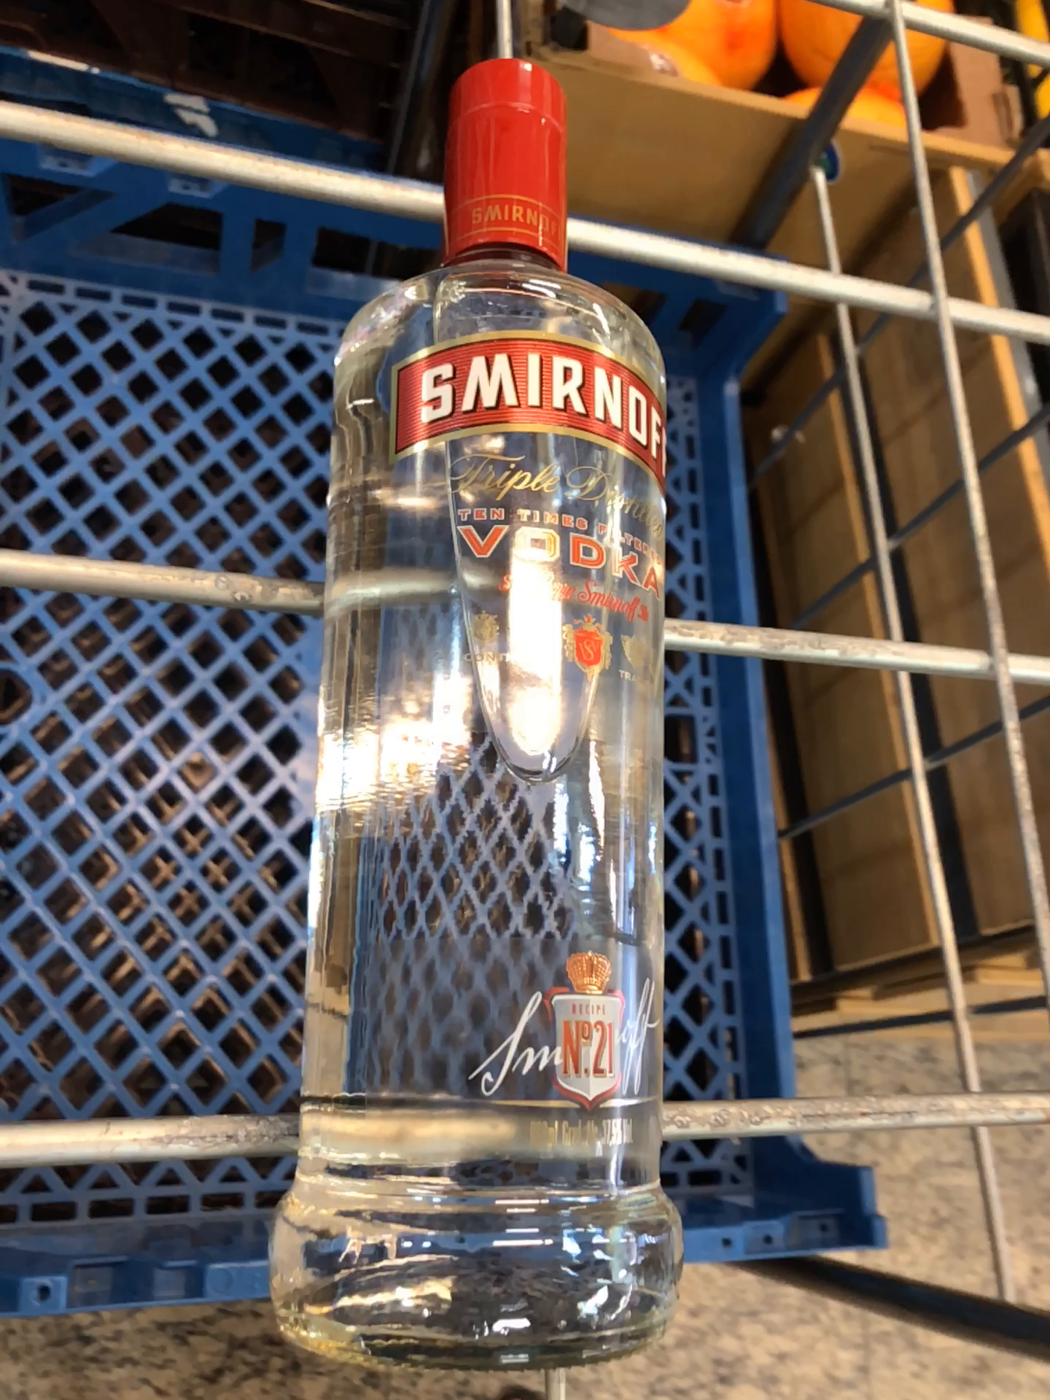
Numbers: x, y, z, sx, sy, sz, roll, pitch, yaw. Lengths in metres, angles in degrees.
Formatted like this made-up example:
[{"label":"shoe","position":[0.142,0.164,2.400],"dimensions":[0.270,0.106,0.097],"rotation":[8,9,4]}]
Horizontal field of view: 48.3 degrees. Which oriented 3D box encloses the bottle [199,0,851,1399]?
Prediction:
[{"label":"bottle","position":[-0.009,-0.021,0.271],"dimensions":[0.100,0.100,0.310],"rotation":[5,72,-17]}]
